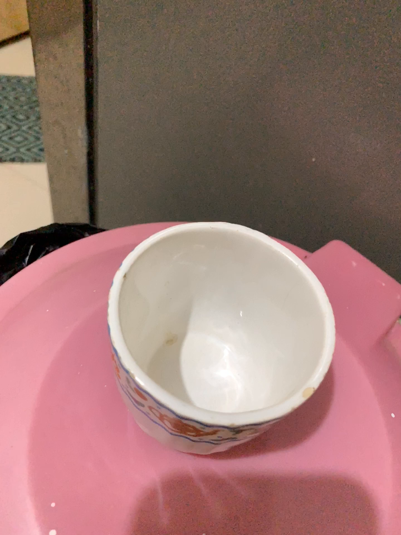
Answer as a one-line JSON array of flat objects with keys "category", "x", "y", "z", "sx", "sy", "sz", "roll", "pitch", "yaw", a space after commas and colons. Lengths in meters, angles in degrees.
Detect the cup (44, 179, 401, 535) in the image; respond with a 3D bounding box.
[{"category": "cup", "x": 0.005, "y": 0.029, "z": 0.142, "sx": 0.076, "sy": 0.062, "sz": 0.072, "roll": 7, "pitch": 51, "yaw": -8}]
